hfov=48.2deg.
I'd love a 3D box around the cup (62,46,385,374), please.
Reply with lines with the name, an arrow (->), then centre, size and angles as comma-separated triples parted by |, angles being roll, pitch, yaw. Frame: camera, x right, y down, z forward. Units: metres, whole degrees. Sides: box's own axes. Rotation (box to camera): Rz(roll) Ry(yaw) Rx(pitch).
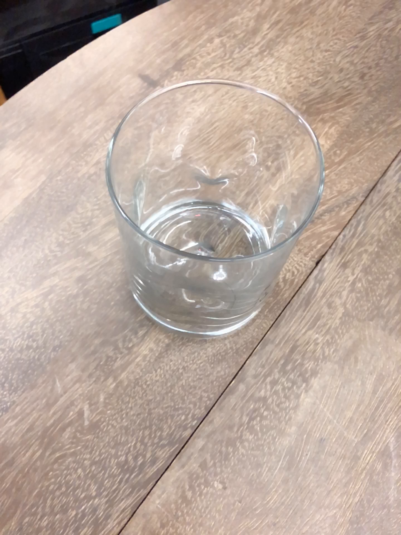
cup -> 0.004, -0.018, 0.201 | 0.084, 0.098, 0.084 | 1, 66, -2
